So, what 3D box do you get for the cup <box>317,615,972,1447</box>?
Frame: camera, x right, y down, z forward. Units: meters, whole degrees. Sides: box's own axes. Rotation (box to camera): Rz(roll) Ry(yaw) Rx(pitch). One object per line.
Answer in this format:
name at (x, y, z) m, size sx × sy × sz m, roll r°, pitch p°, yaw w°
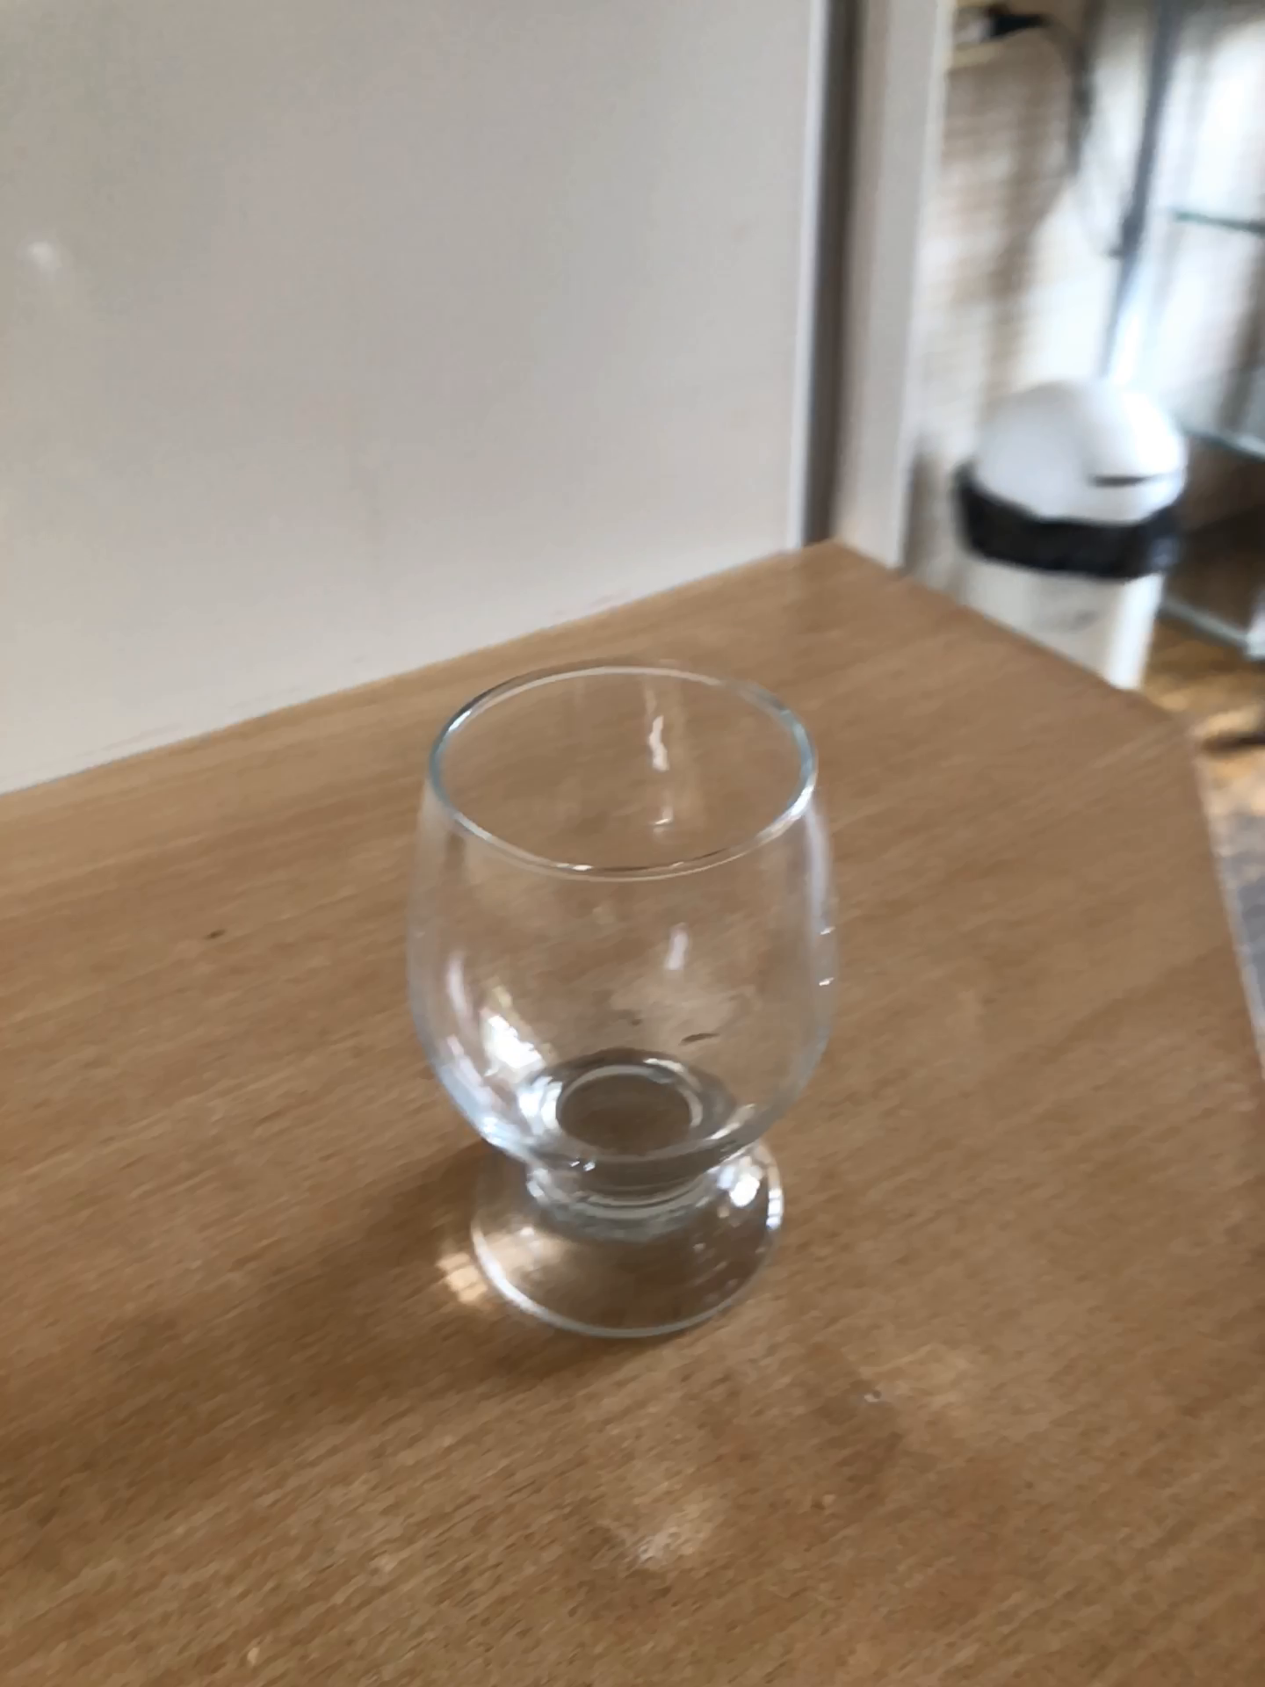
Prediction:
cup at (0.001, 0.030, 0.256) m, size 0.074 × 0.105 × 0.077 m, roll -1°, pitch 36°, yaw 1°
